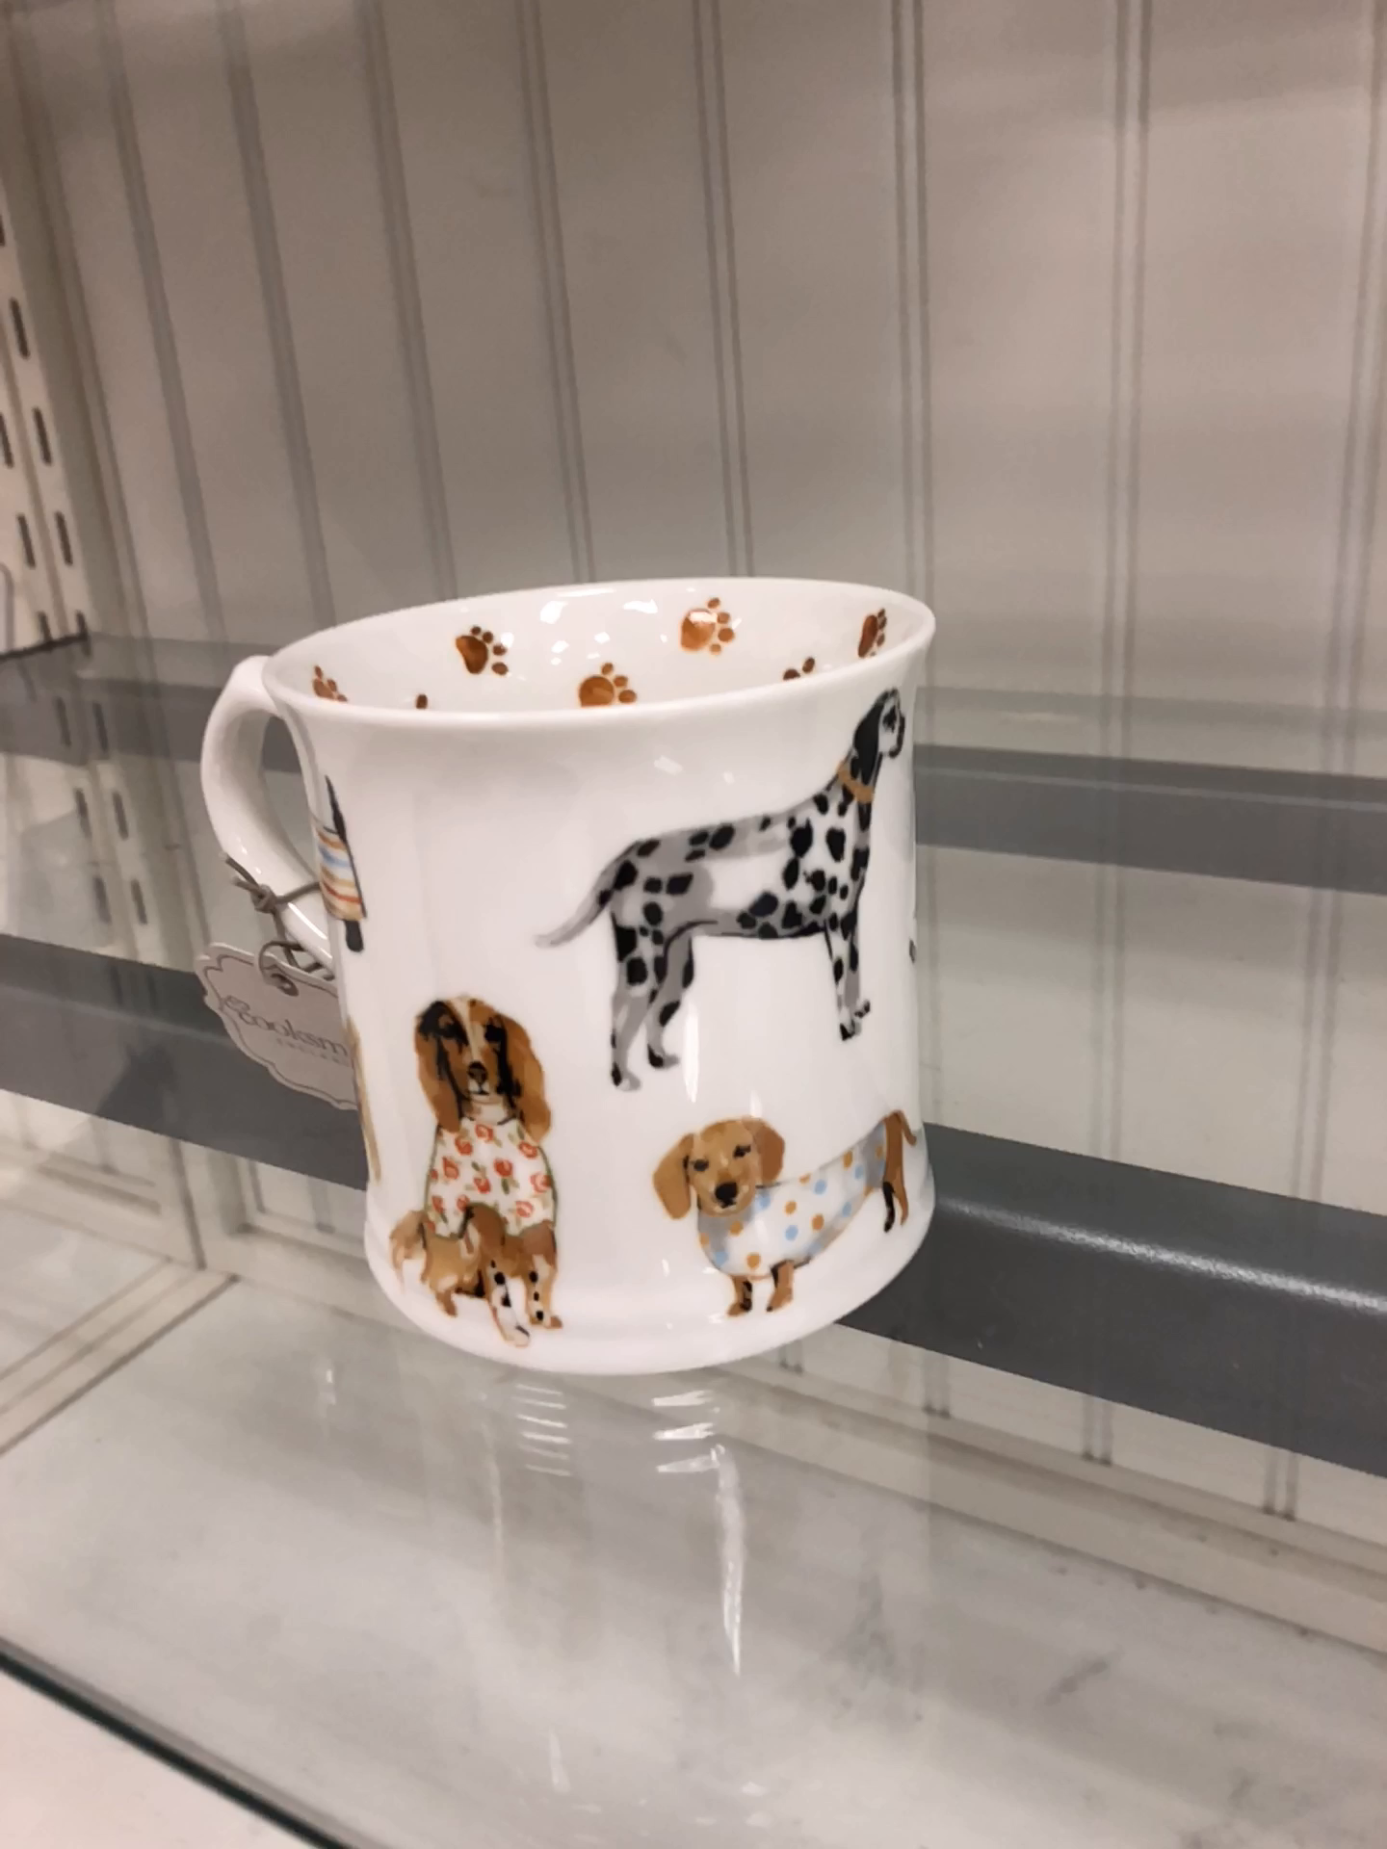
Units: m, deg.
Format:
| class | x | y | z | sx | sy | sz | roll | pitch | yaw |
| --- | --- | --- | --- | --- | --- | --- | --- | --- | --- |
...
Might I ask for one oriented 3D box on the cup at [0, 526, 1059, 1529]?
| class | x | y | z | sx | sy | sz | roll | pitch | yaw |
| --- | --- | --- | --- | --- | --- | --- | --- | --- | --- |
| cup | -0.028 | -0.004 | 0.226 | 0.125 | 0.089 | 0.100 | 14 | 27 | 39 |
